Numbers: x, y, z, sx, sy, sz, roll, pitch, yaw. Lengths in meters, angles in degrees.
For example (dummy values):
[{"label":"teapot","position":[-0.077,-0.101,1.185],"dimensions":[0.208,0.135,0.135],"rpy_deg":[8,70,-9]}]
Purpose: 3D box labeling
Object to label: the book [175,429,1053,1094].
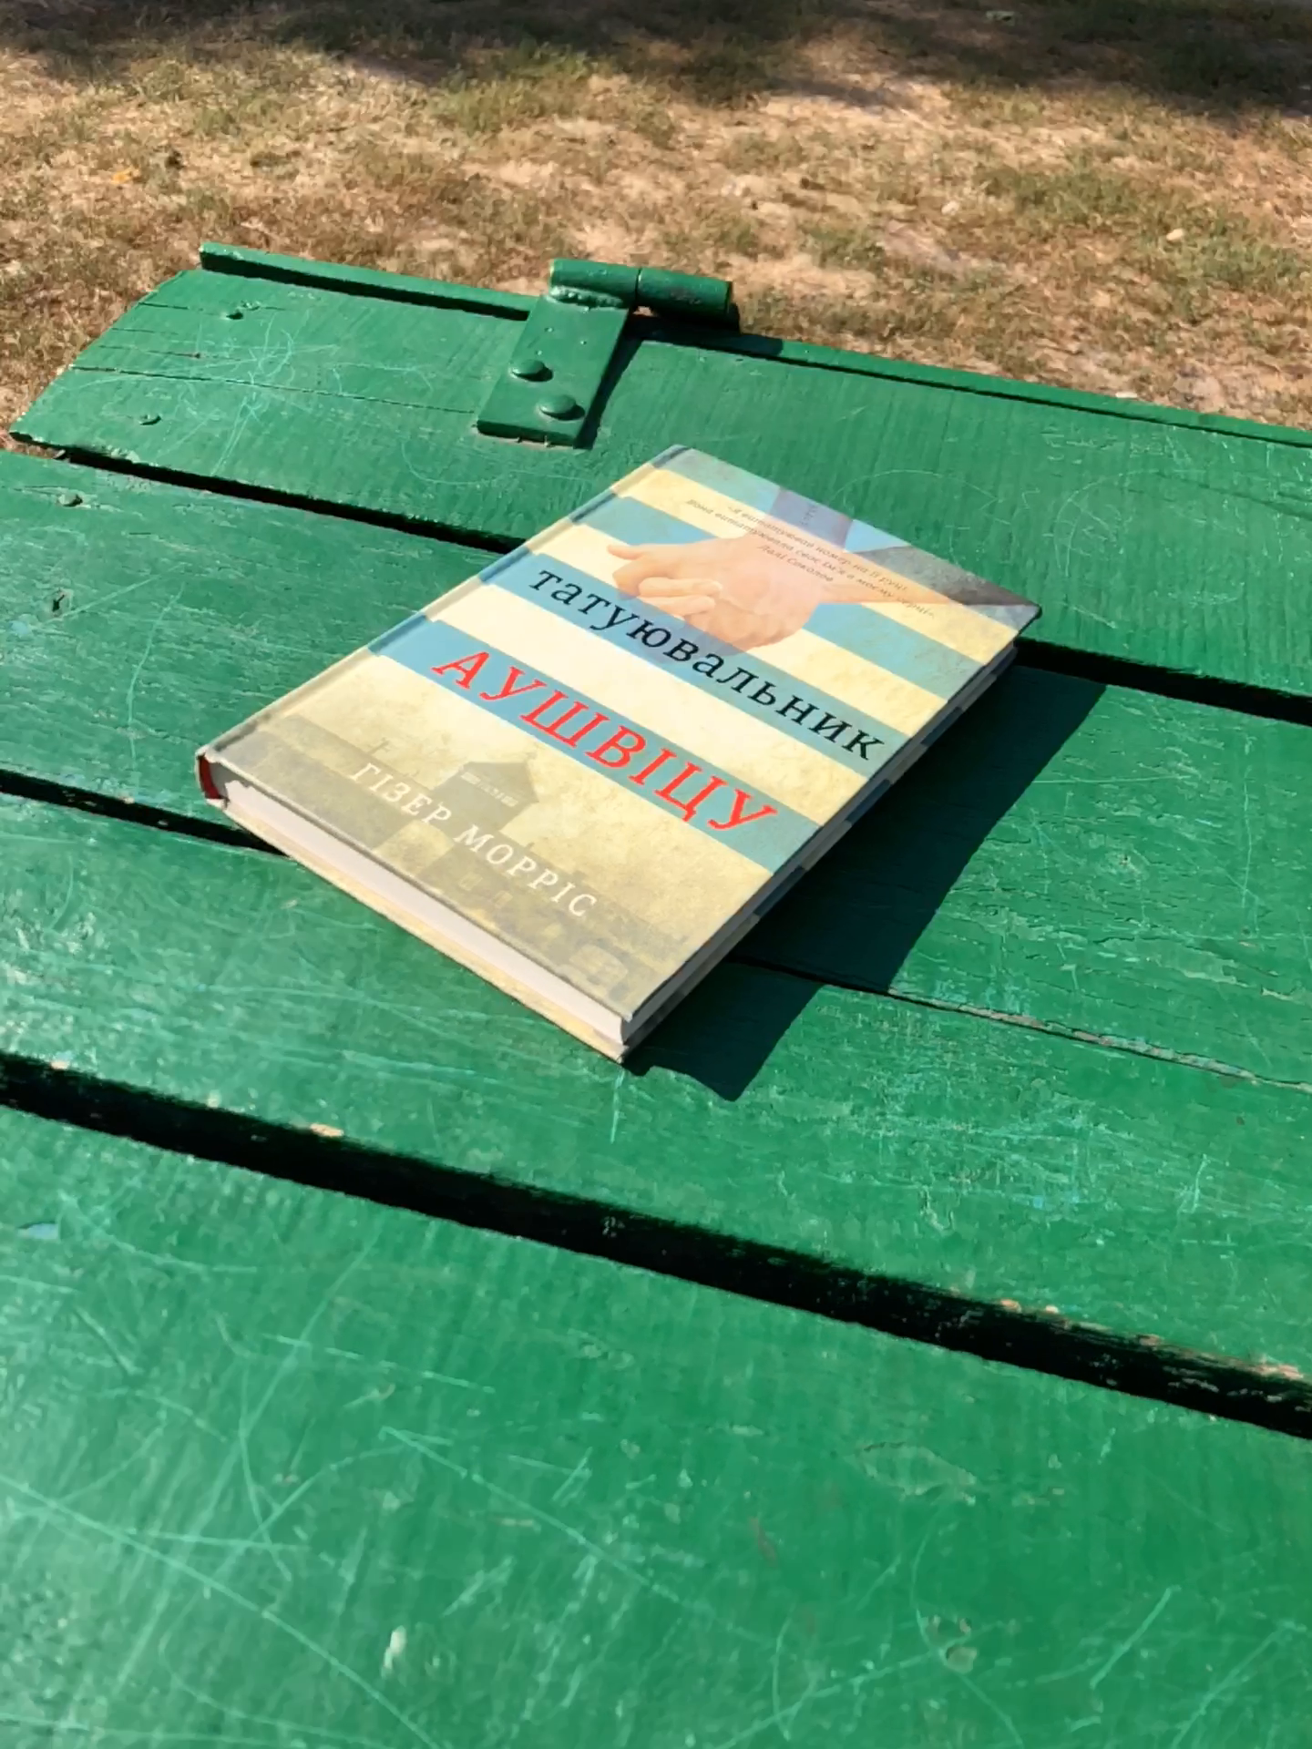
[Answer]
[{"label":"book","position":[-0.002,-0.051,0.411],"dimensions":[0.147,0.020,0.214],"rpy_deg":[31,51,21]}]
